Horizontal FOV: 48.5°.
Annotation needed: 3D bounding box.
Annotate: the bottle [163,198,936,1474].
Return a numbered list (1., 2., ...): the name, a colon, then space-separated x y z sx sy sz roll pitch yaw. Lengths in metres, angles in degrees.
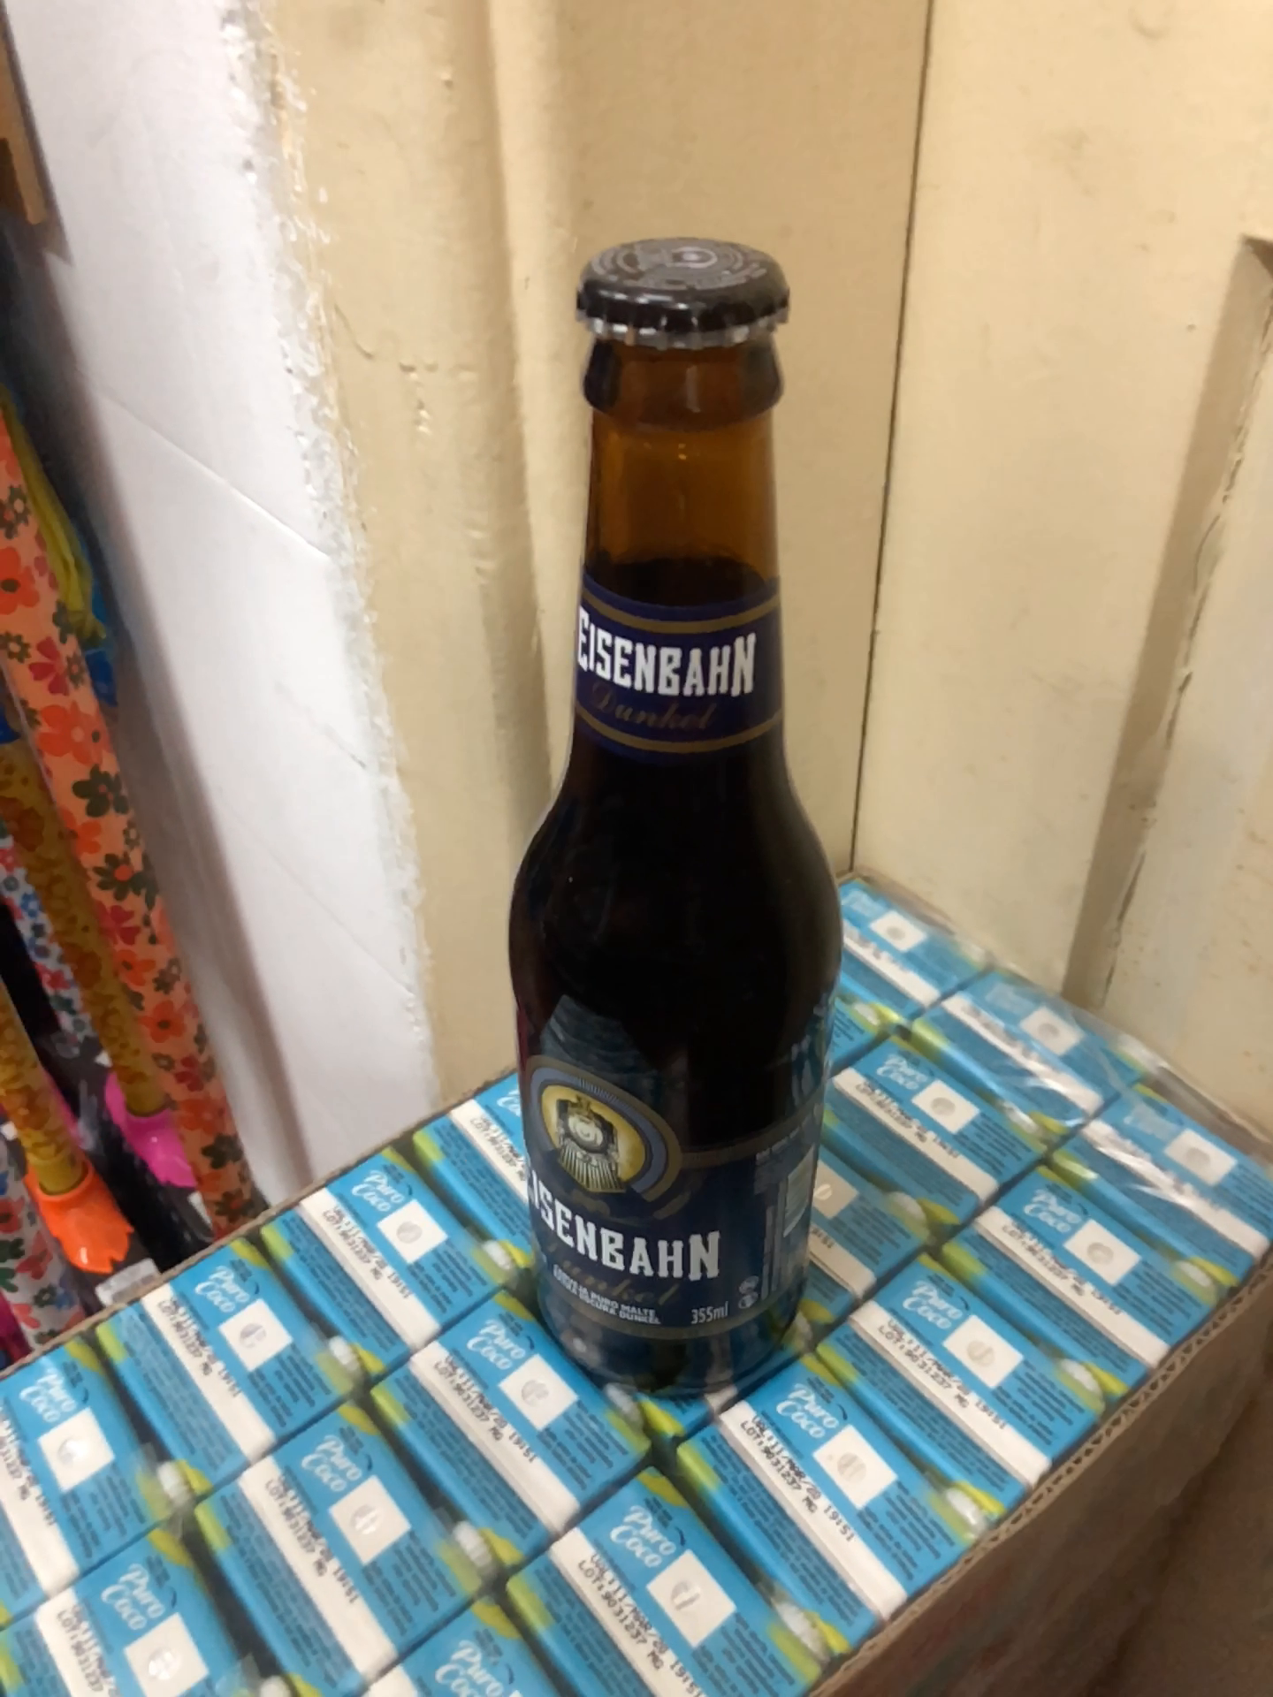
1. bottle: -0.007 0.011 0.232 0.070 0.198 0.060 21 45 25
